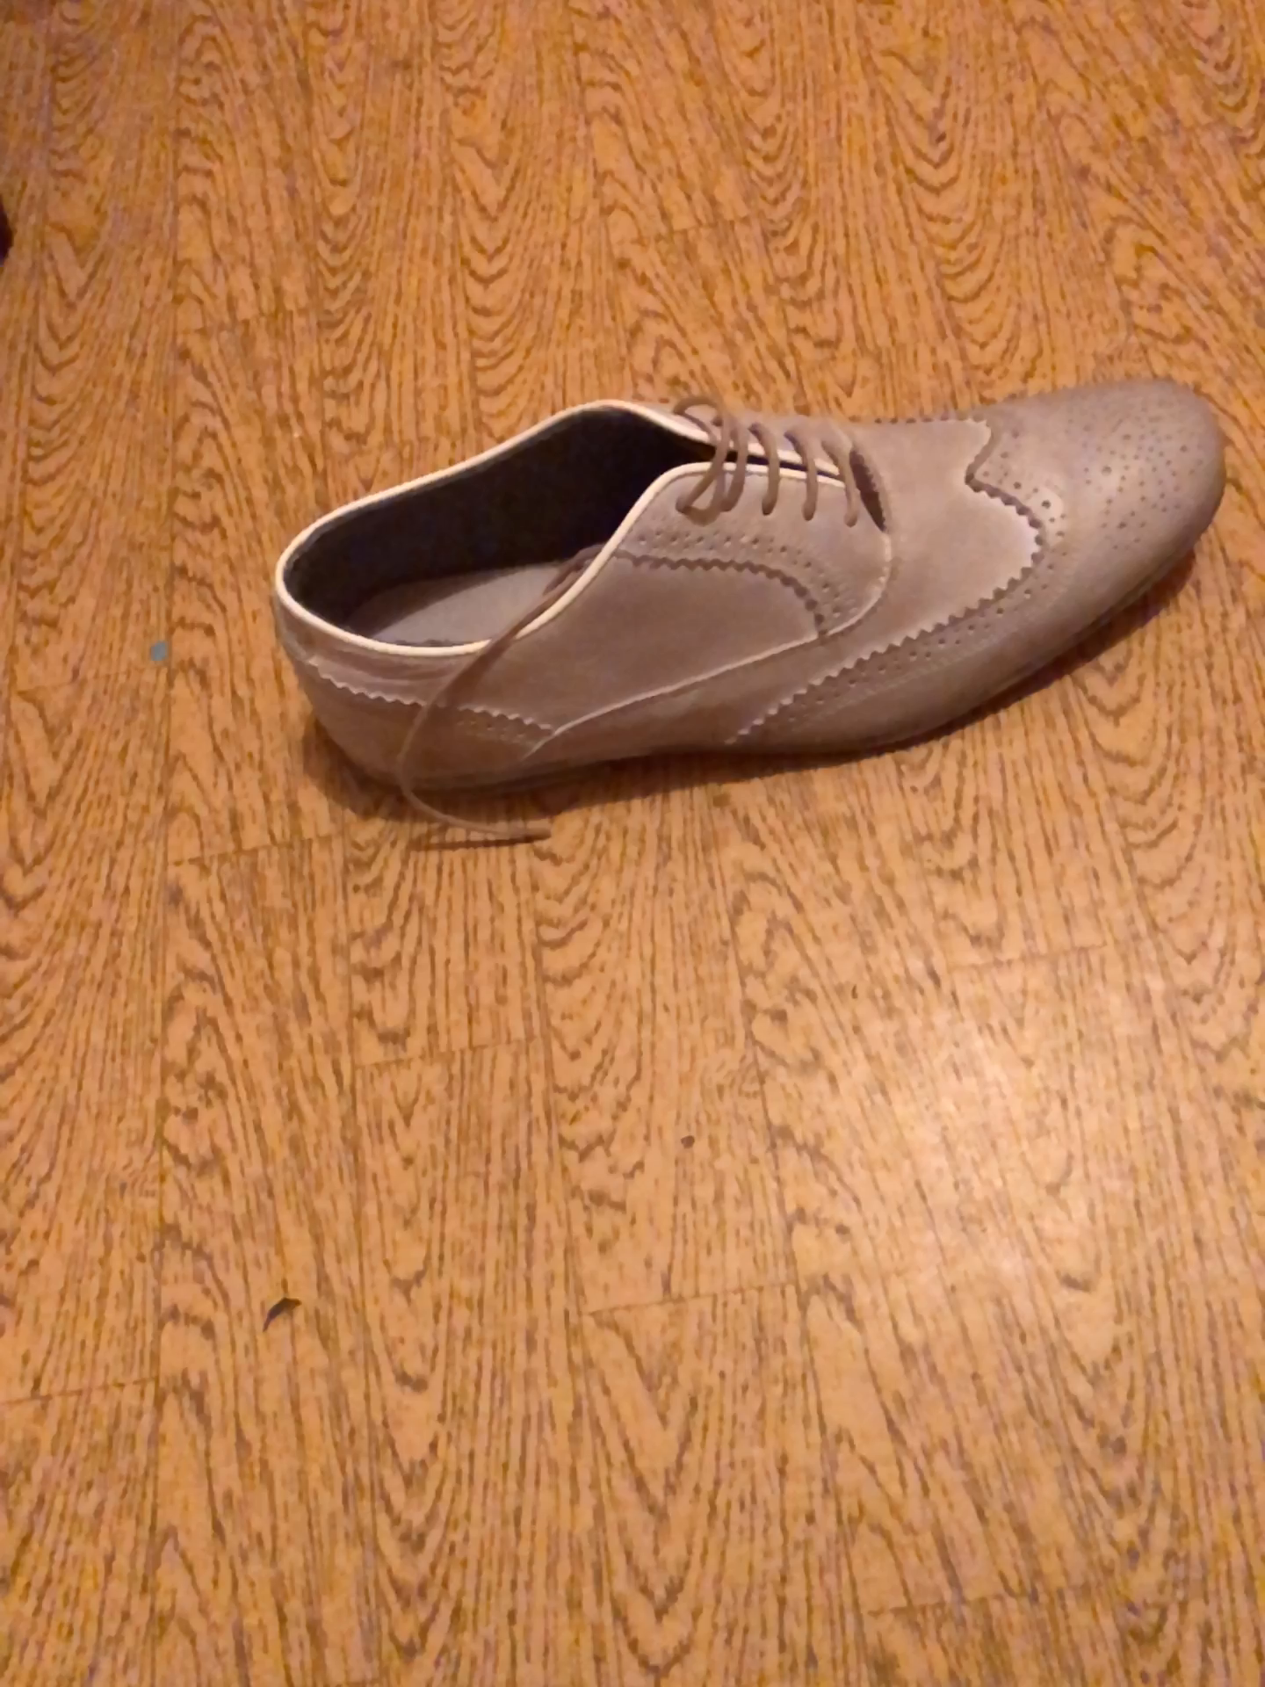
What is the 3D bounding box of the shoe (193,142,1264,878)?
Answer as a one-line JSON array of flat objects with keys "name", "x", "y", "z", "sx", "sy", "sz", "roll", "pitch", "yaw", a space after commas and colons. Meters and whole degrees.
[{"name": "shoe", "x": 0.037, "y": -0.094, "z": 0.425, "sx": 0.300, "sy": 0.110, "sz": 0.110, "roll": -13, "pitch": 64, "yaw": 1}]
